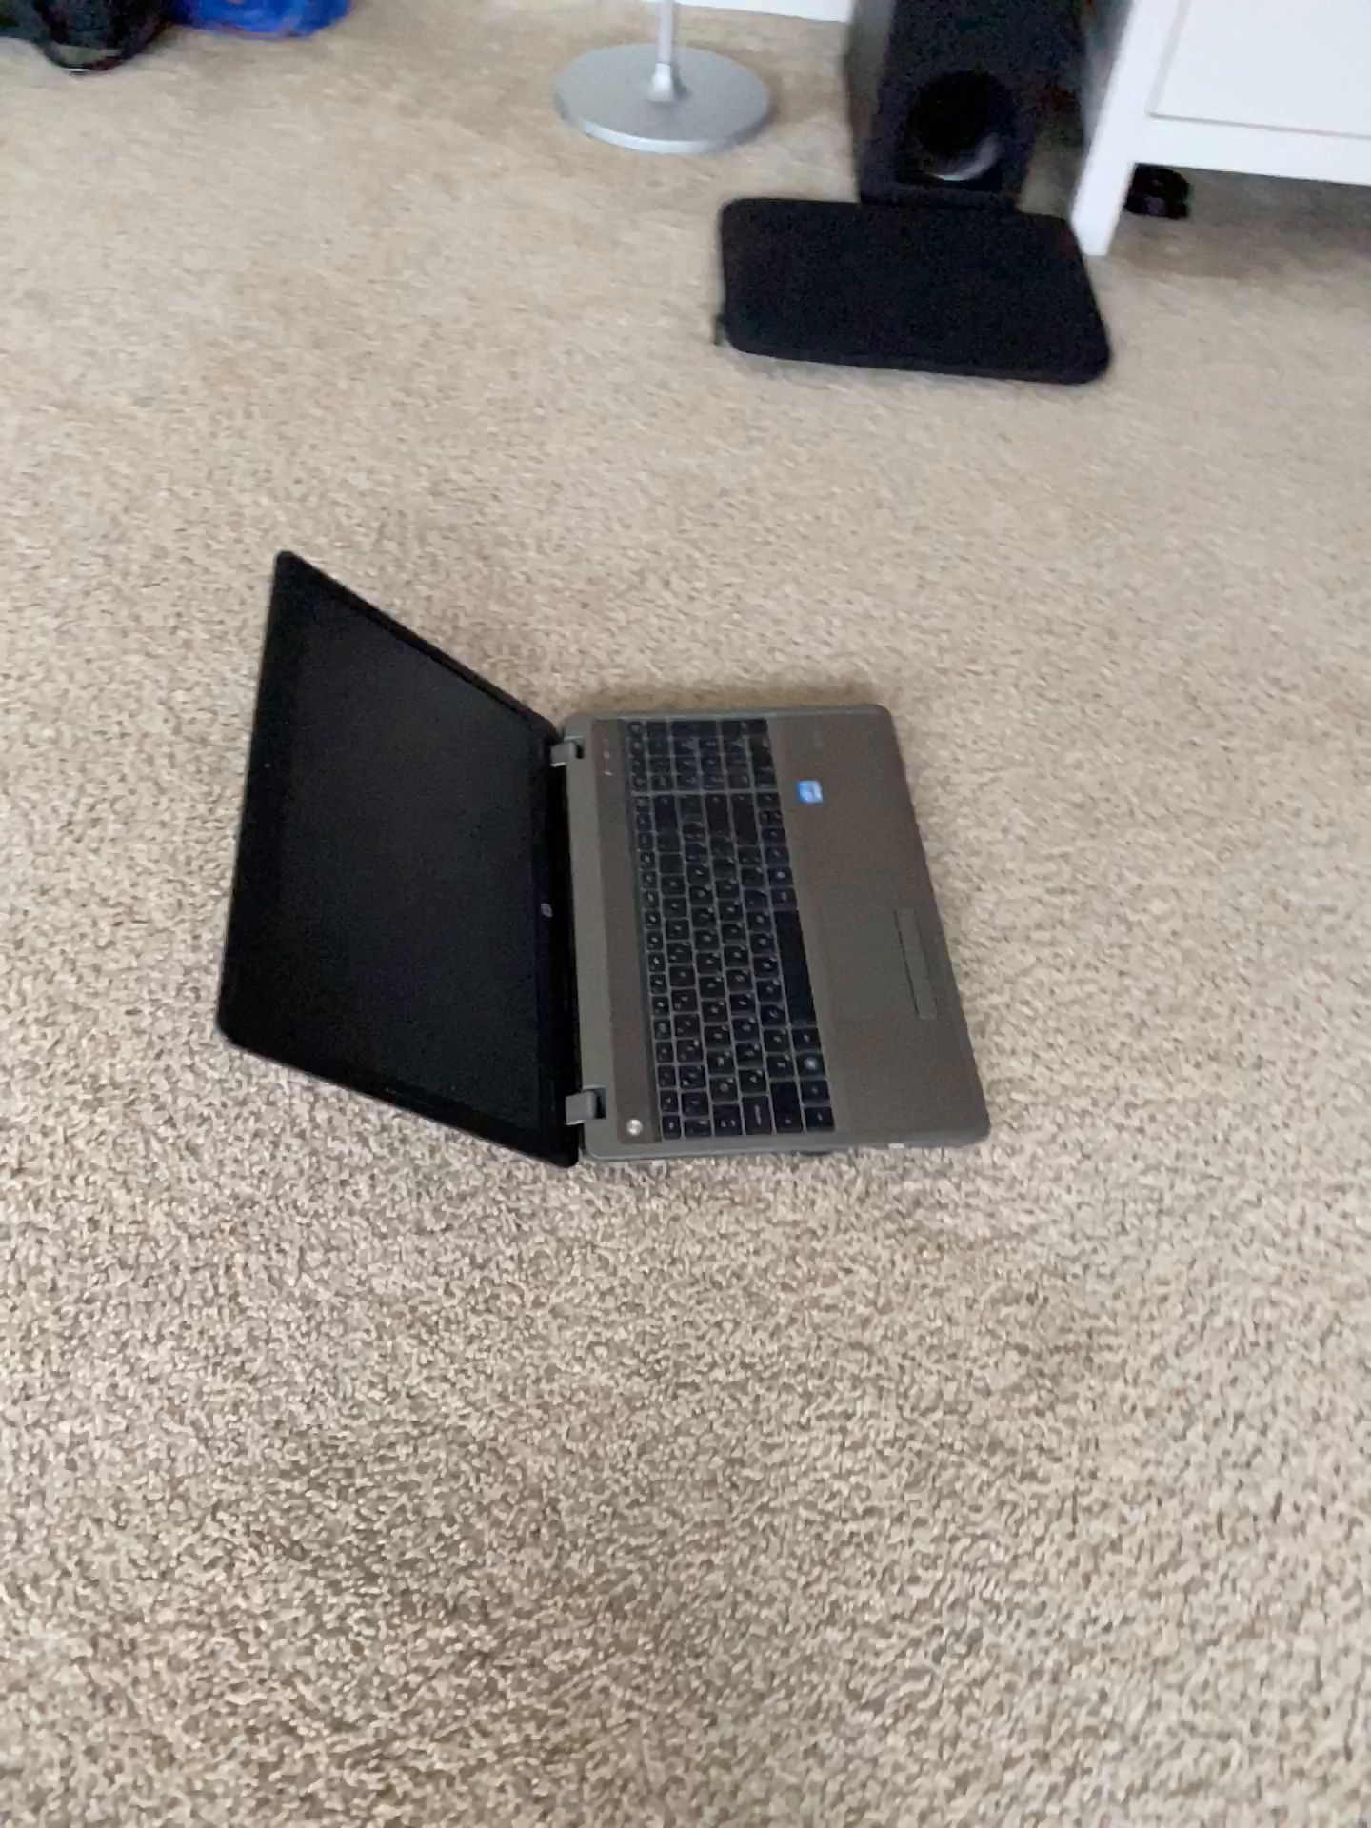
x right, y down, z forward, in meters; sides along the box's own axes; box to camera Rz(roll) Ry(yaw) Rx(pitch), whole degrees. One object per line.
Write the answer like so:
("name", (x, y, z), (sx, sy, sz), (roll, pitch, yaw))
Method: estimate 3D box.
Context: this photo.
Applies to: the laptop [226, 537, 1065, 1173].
("laptop", (-0.035, -0.053, 0.893), (0.435, 0.162, 0.376), (-2, 54, -5))
